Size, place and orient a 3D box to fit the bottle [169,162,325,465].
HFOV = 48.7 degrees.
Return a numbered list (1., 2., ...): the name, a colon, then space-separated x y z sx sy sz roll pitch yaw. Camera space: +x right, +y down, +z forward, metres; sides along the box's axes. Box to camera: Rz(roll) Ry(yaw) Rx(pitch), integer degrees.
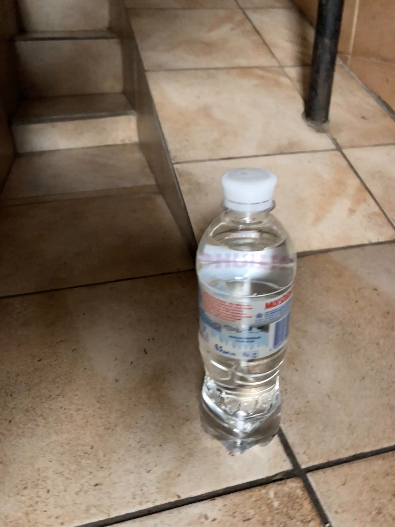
1. bottle: 0.031 0.039 0.308 0.080 0.199 0.081 -1 30 1
